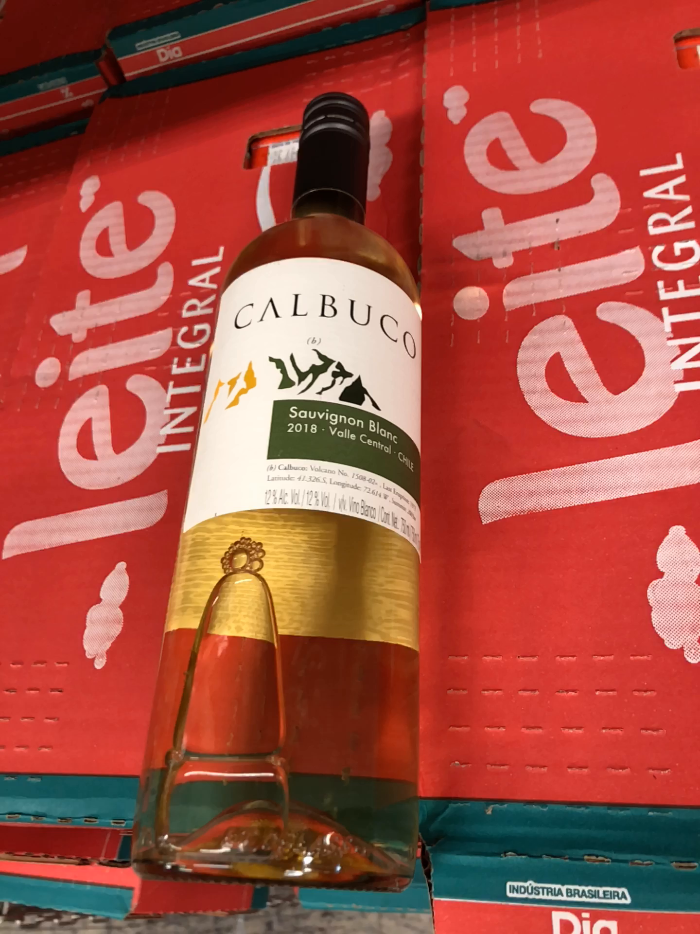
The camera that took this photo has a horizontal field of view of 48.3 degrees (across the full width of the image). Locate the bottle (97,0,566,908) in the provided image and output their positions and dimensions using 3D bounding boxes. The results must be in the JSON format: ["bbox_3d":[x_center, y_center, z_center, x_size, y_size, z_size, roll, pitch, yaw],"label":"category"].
[{"bbox_3d":[-0.009,-0.028,0.255,0.090,0.100,0.291,10,63,-15],"label":"bottle"}]
